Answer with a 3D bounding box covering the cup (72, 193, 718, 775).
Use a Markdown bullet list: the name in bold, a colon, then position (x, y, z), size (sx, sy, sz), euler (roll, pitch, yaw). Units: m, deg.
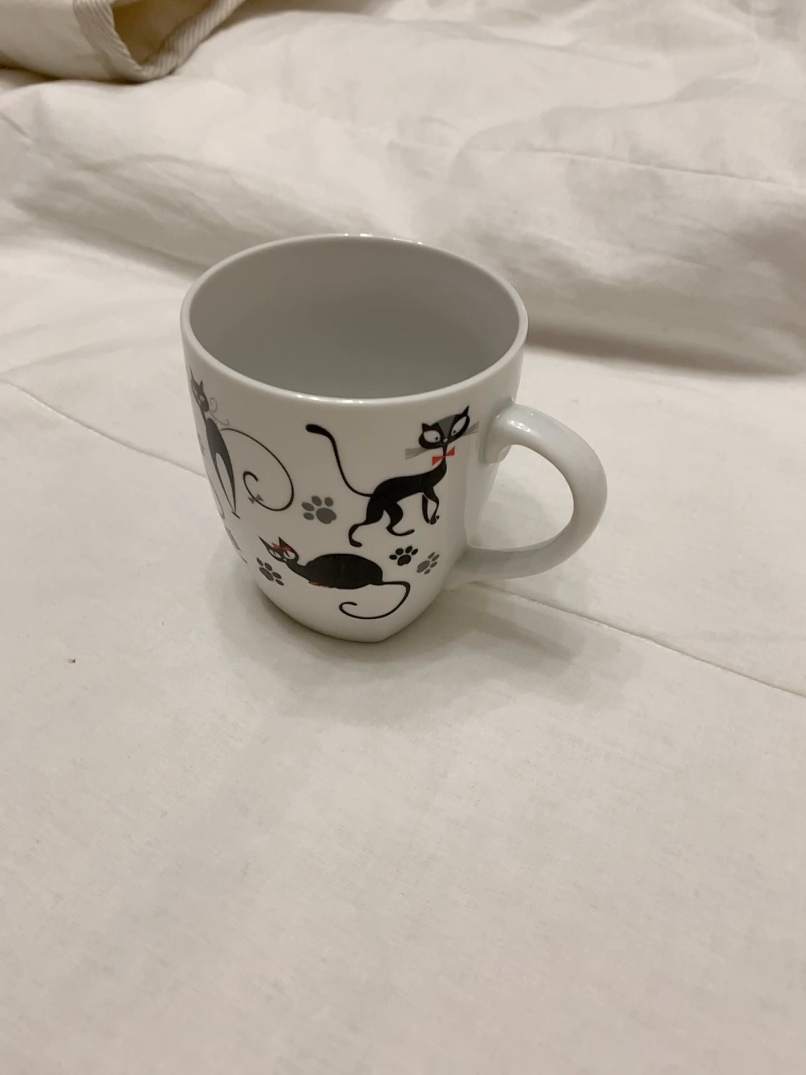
- **cup**: position (-0.003, -0.022, 0.211), size (0.119, 0.077, 0.081), euler (28, 50, 27)
